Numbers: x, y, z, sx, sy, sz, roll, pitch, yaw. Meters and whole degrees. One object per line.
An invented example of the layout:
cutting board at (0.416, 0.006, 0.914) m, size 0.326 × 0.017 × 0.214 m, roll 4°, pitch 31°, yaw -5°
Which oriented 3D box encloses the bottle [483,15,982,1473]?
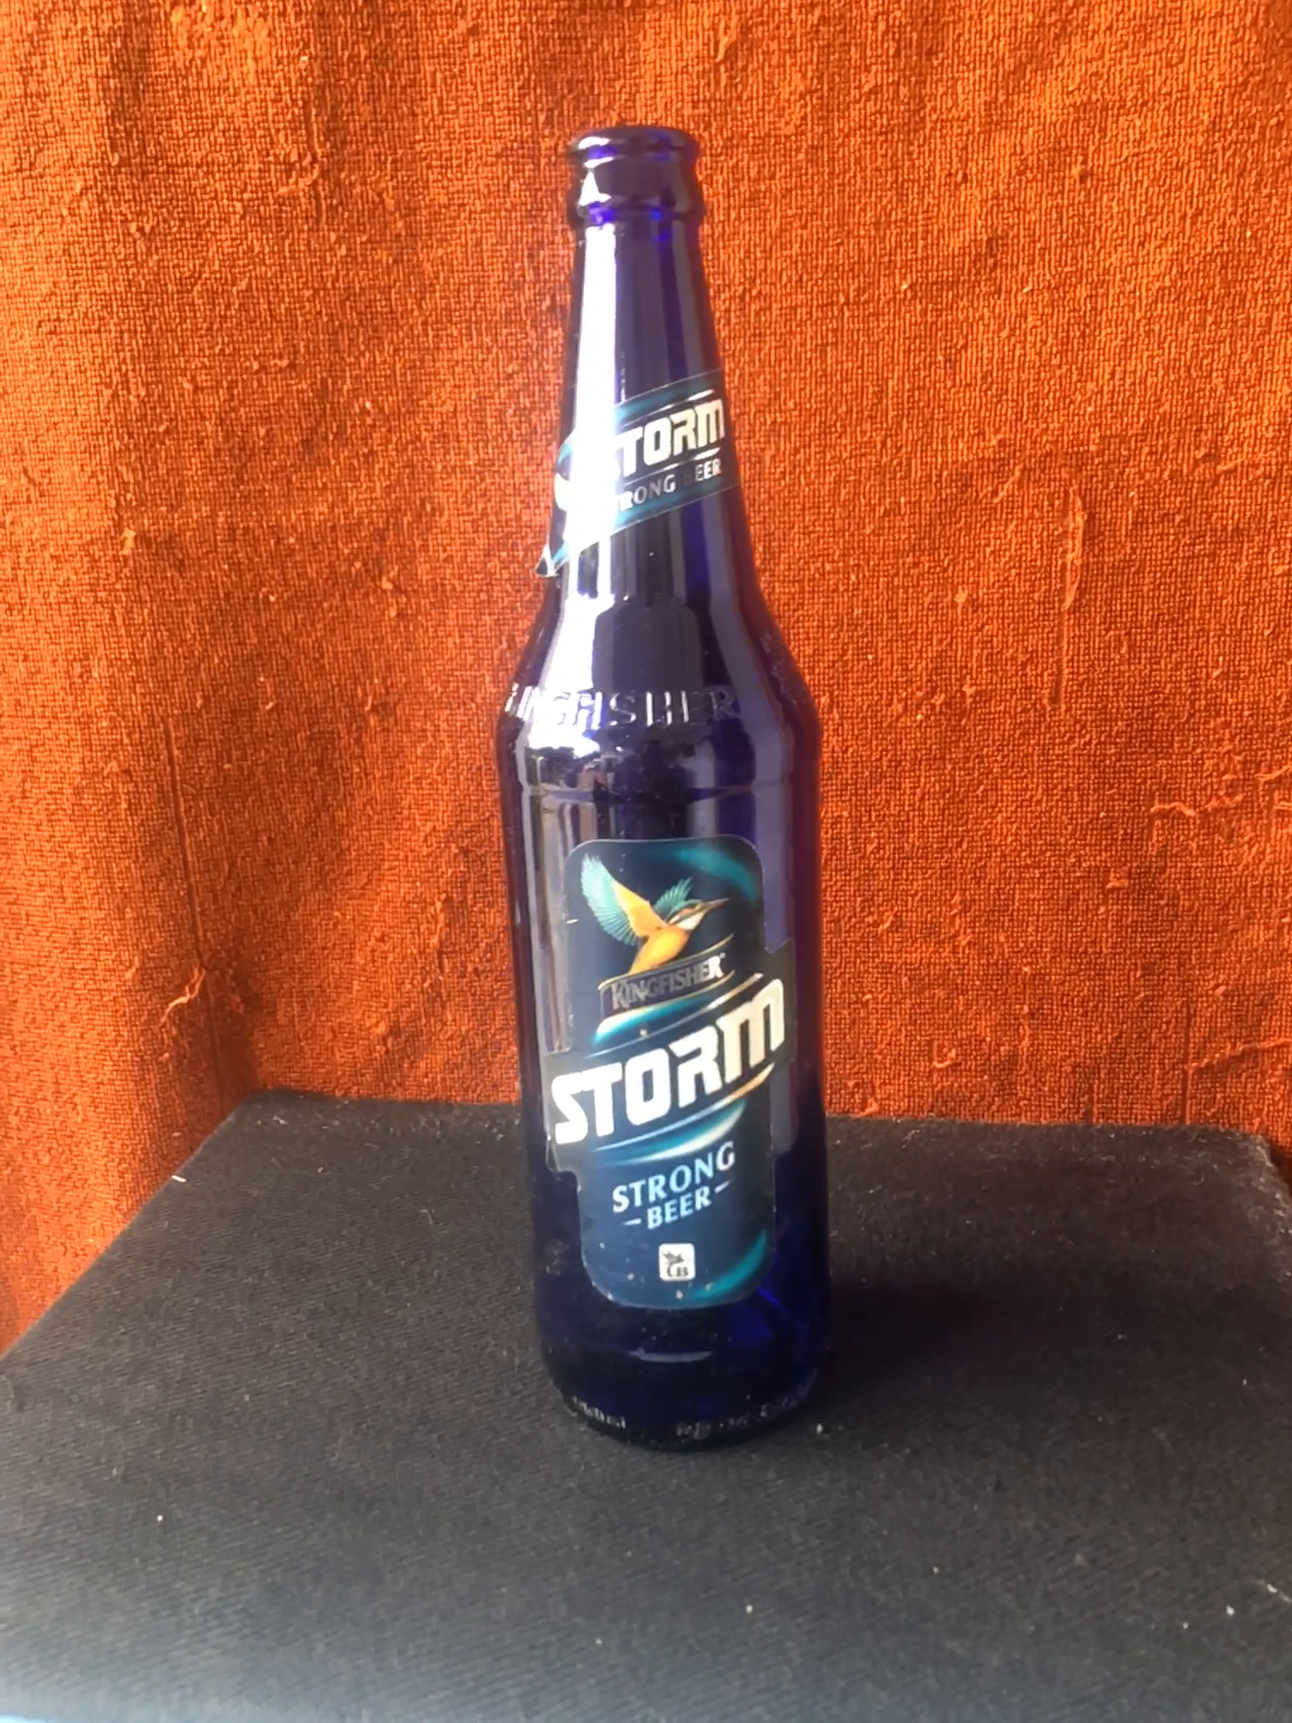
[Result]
bottle at (0.015, -0.014, 0.307) m, size 0.080 × 0.279 × 0.080 m, roll -1°, pitch 17°, yaw 0°
